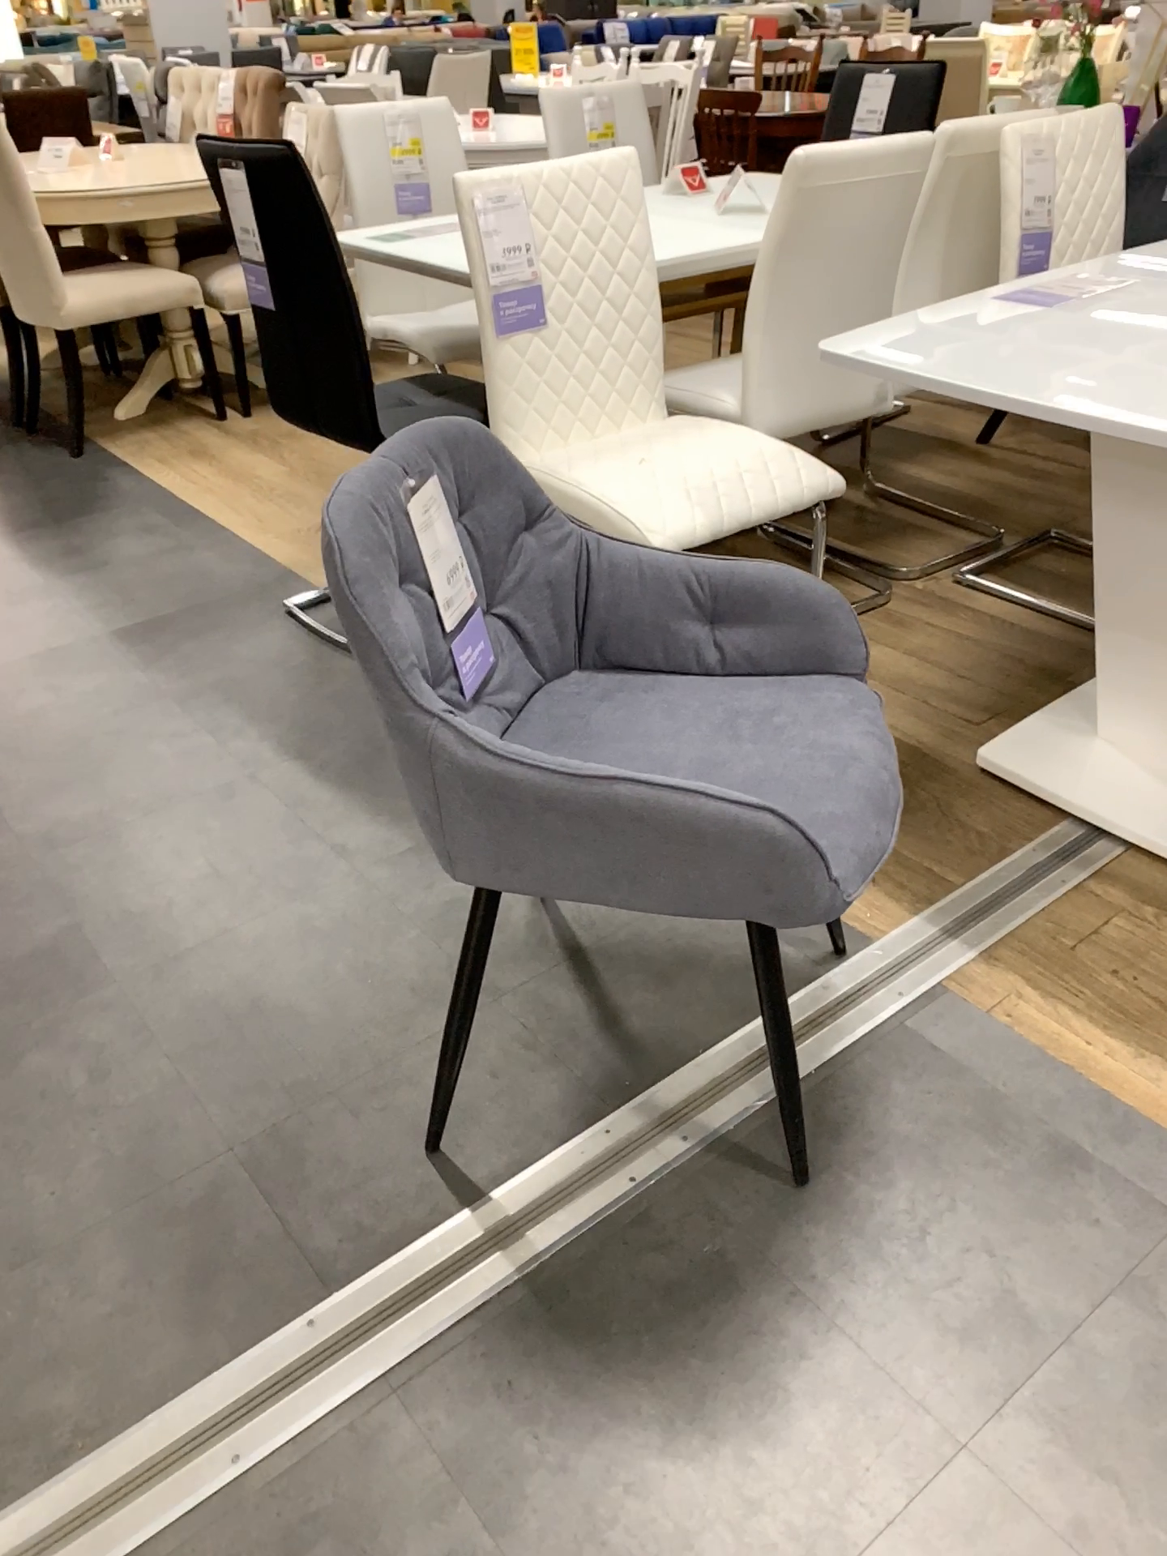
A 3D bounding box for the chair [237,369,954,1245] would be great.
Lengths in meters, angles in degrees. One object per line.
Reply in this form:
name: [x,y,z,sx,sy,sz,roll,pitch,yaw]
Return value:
chair: [0.069,-0.001,1.406,0.590,0.775,0.563,8,34,15]
